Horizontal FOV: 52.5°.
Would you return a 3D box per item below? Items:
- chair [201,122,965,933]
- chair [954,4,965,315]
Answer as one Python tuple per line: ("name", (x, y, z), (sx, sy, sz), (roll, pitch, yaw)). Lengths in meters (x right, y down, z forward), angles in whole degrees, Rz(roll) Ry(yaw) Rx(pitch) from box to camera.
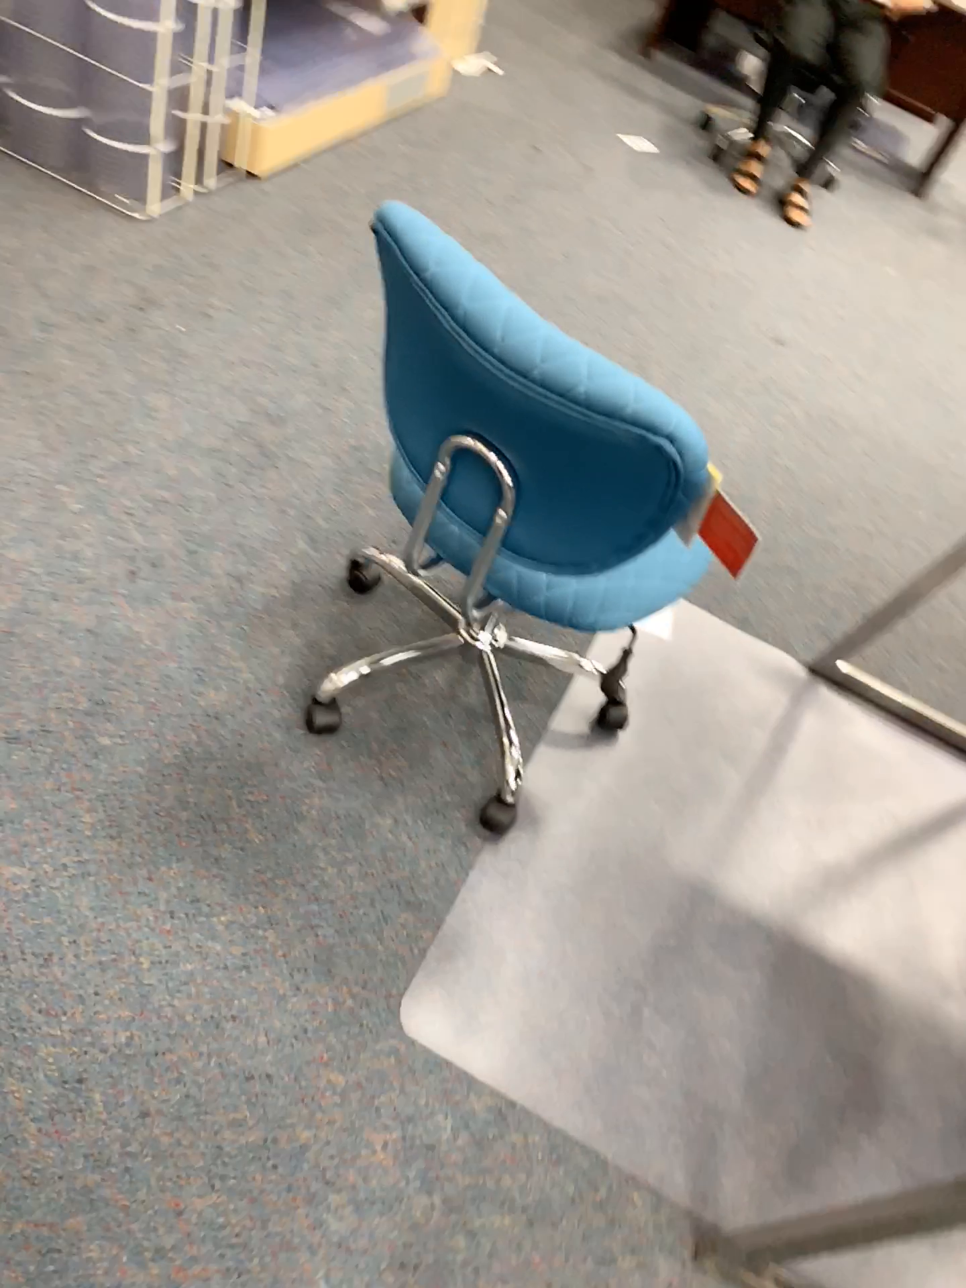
("chair", (0.102, -0.181, 1.403), (0.599, 0.775, 0.667), (39, 45, 14))
("chair", (2.754, -2.136, 4.298), (0.639, 0.954, 0.858), (38, 45, 13))
